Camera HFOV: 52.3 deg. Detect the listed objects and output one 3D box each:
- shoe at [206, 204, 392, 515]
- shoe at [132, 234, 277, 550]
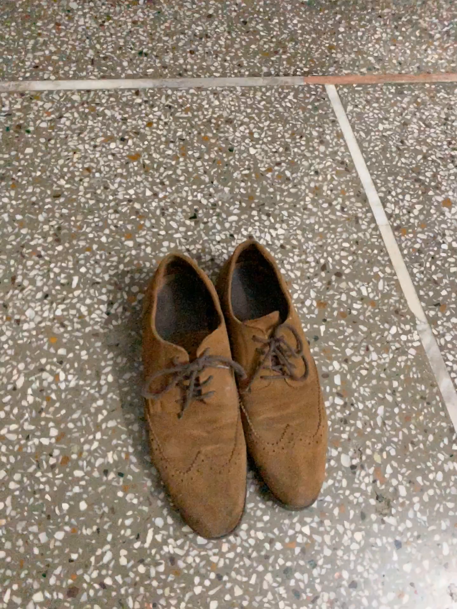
[{"bbox_3d":[0.058,0.054,0.512,0.100,0.110,0.310,-8,67,-11],"label":"shoe"},{"bbox_3d":[-0.039,0.087,0.516,0.100,0.110,0.310,-6,67,-10],"label":"shoe"}]
